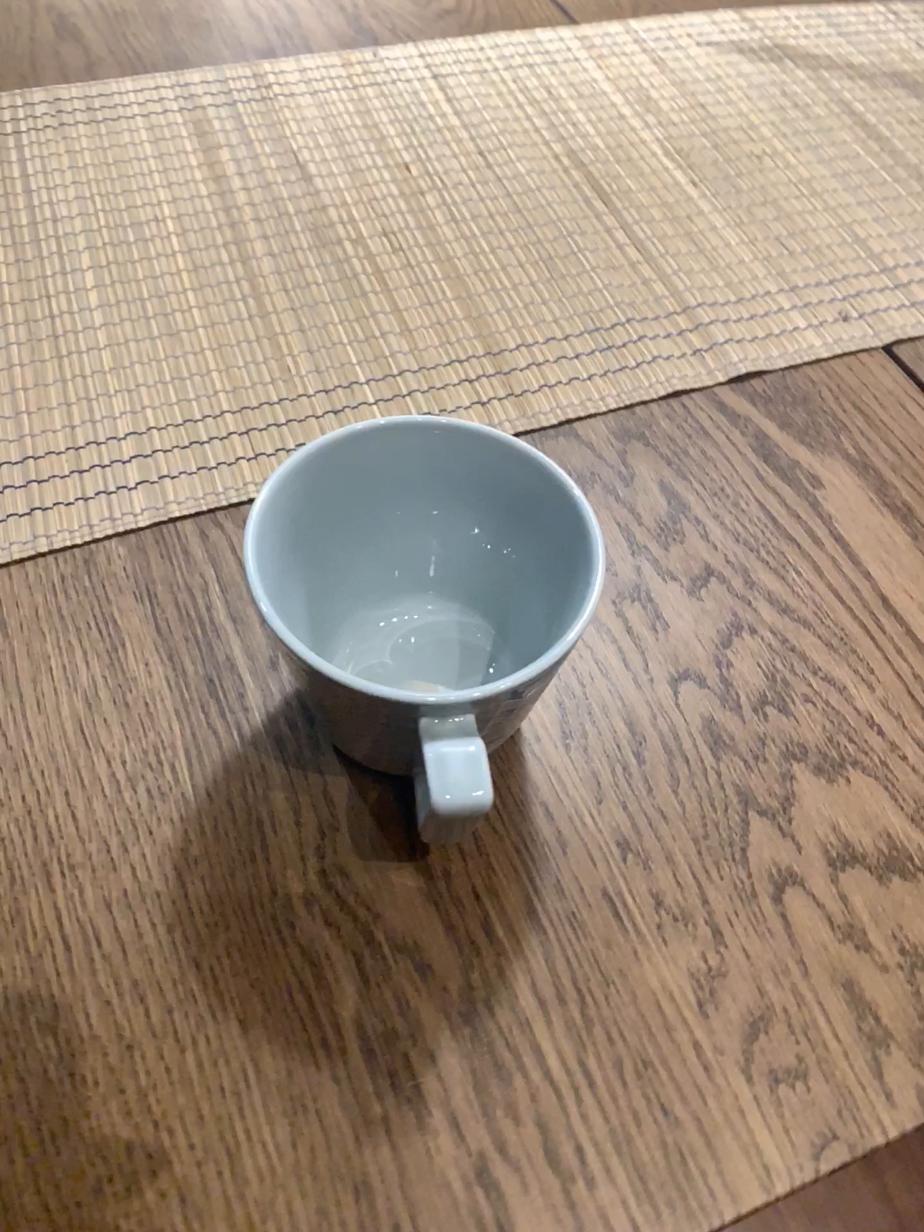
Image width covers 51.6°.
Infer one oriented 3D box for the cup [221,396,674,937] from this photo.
[{"bbox_3d":[-0.012,0.015,0.312,0.110,0.100,0.140,-2,54,-6],"label":"cup"}]
